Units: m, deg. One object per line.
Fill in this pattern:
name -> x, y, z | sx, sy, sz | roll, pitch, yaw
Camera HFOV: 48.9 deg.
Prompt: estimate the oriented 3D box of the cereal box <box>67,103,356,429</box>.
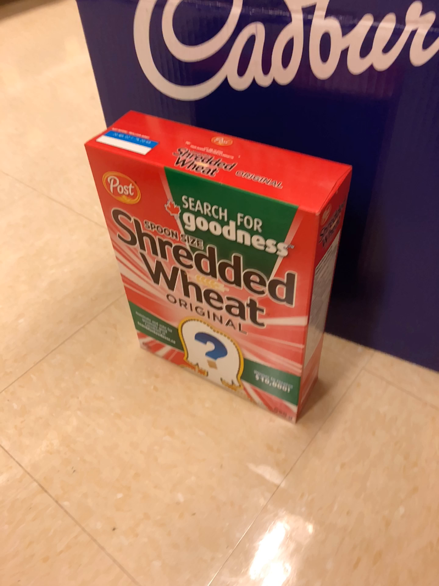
cereal box -> -0.004, -0.014, 0.455 | 0.211, 0.268, 0.070 | 21, 51, 24
